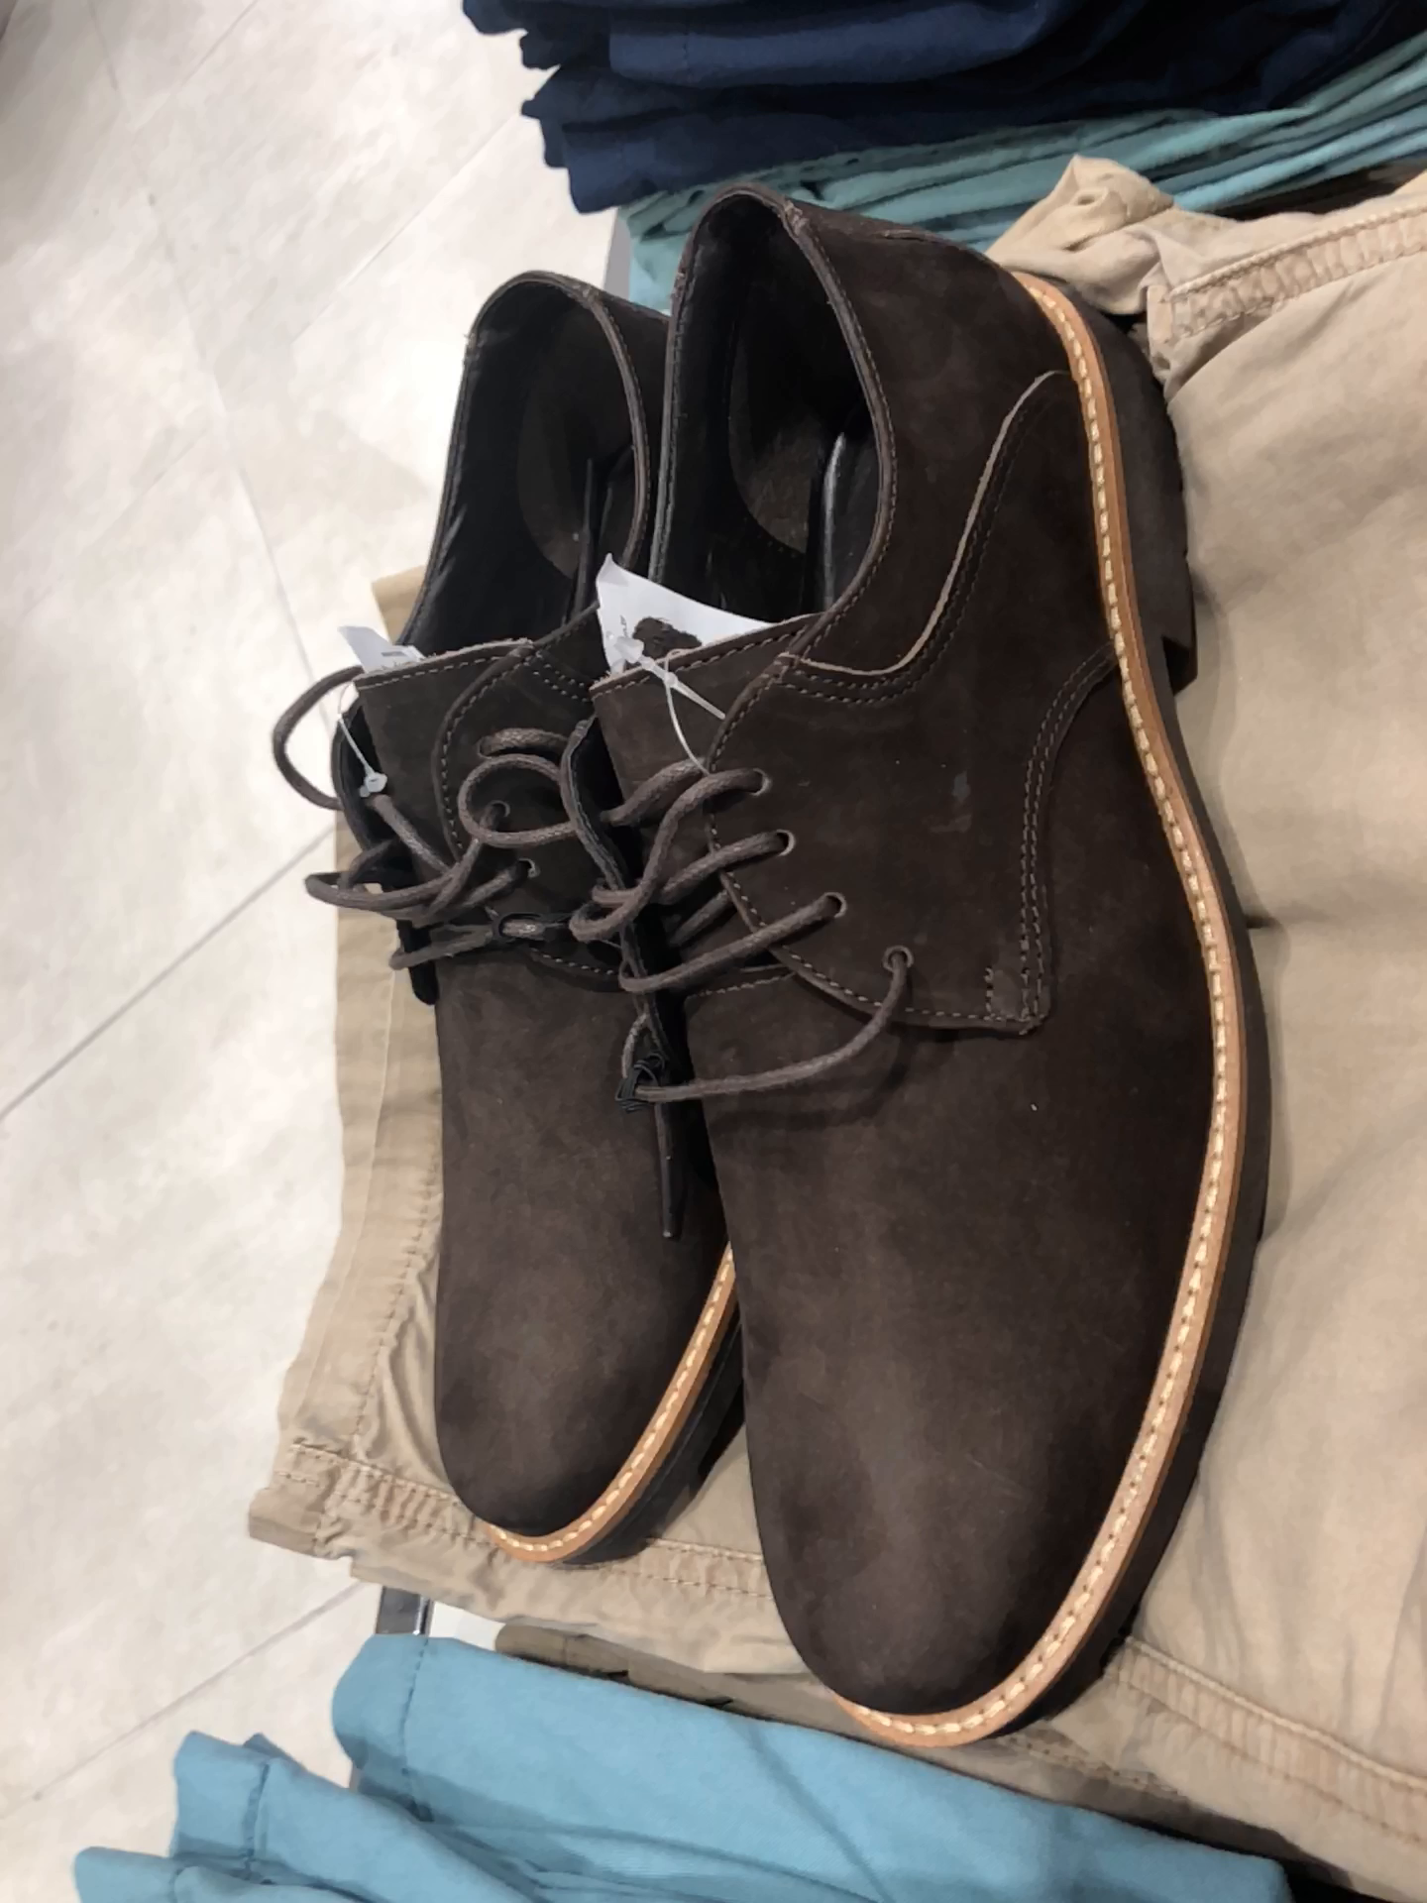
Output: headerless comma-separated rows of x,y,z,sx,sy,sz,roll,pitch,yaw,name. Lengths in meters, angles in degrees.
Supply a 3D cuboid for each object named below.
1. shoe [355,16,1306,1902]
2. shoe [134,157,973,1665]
0.025,0.007,0.274,0.100,0.110,0.260,-10,72,47,shoe
-0.032,-0.006,0.347,0.110,0.110,0.260,1,83,44,shoe
